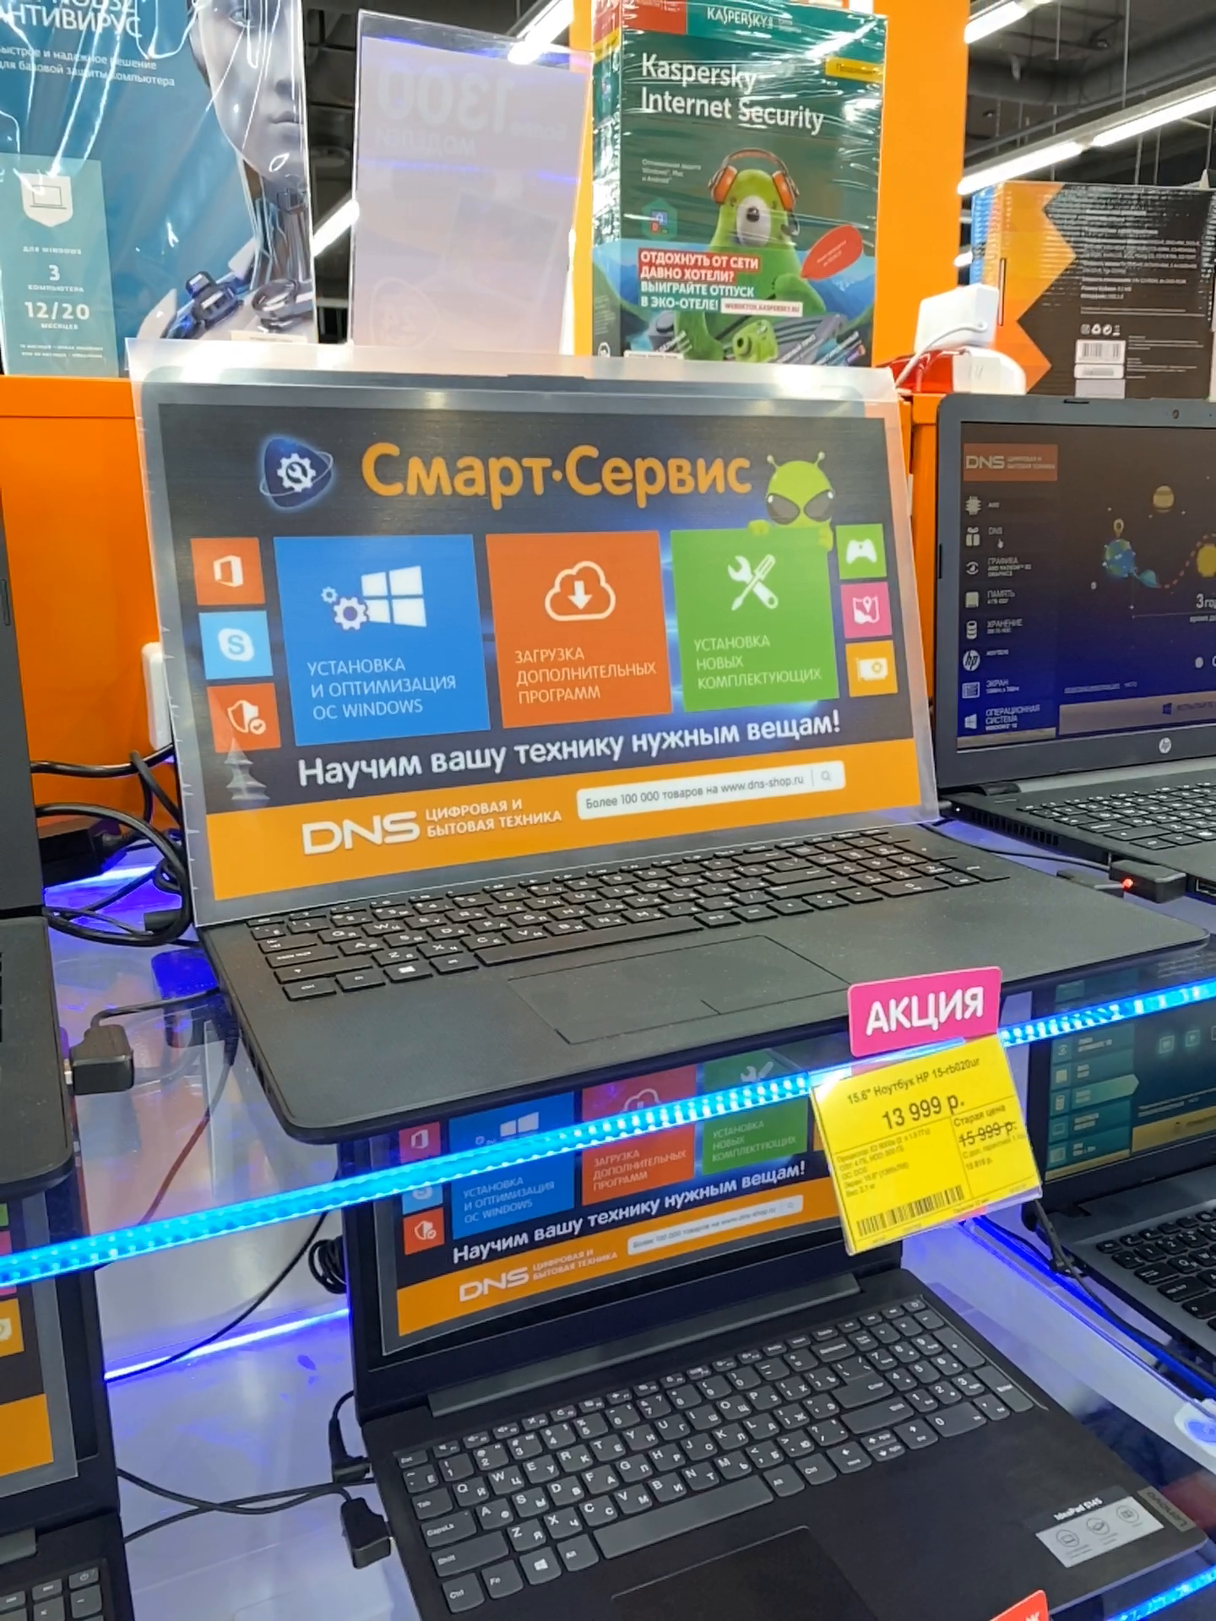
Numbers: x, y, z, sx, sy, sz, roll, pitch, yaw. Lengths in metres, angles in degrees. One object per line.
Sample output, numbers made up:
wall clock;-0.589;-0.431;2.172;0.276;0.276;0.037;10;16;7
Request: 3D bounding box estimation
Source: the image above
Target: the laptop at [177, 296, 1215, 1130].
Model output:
laptop;0.032;-0.071;0.537;0.377;0.235;0.262;-6;15;-22
